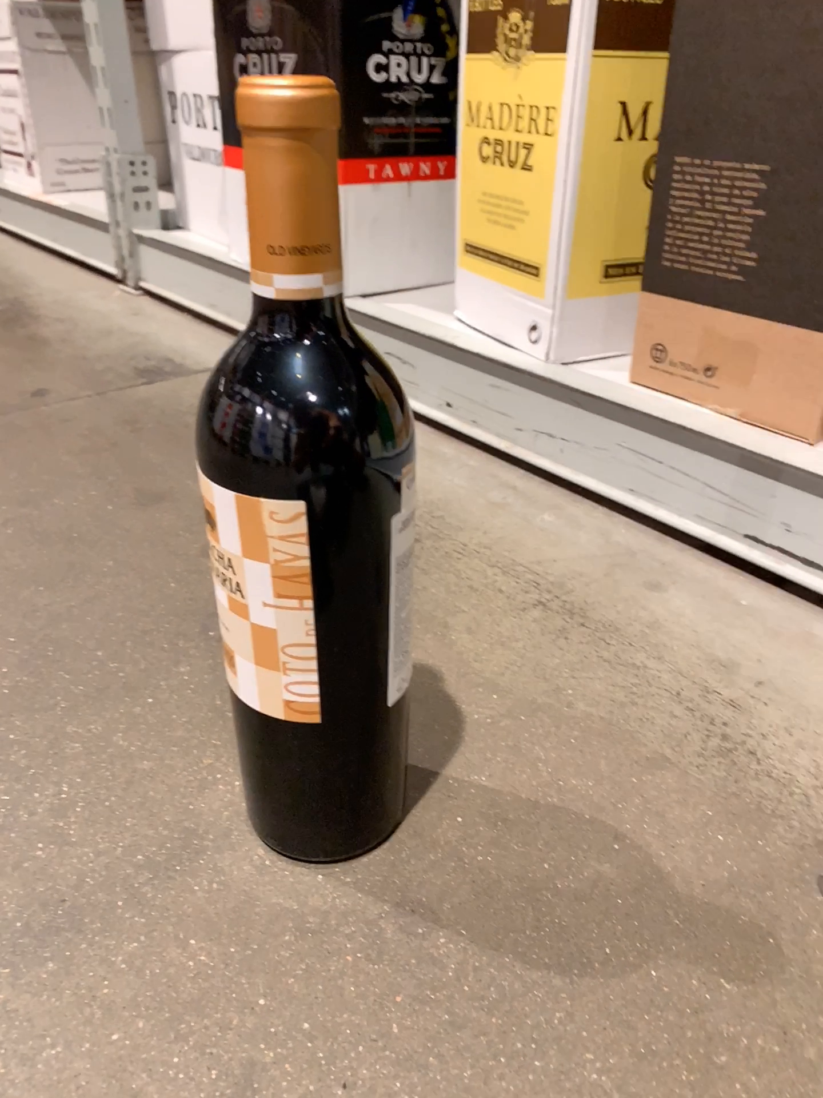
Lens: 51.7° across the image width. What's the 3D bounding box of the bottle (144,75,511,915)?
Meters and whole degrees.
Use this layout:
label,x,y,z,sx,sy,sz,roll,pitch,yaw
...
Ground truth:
label,x,y,z,sx,sy,sz,roll,pitch,yaw
bottle,-0.028,-0.006,0.339,0.080,0.317,0.080,1,30,0
